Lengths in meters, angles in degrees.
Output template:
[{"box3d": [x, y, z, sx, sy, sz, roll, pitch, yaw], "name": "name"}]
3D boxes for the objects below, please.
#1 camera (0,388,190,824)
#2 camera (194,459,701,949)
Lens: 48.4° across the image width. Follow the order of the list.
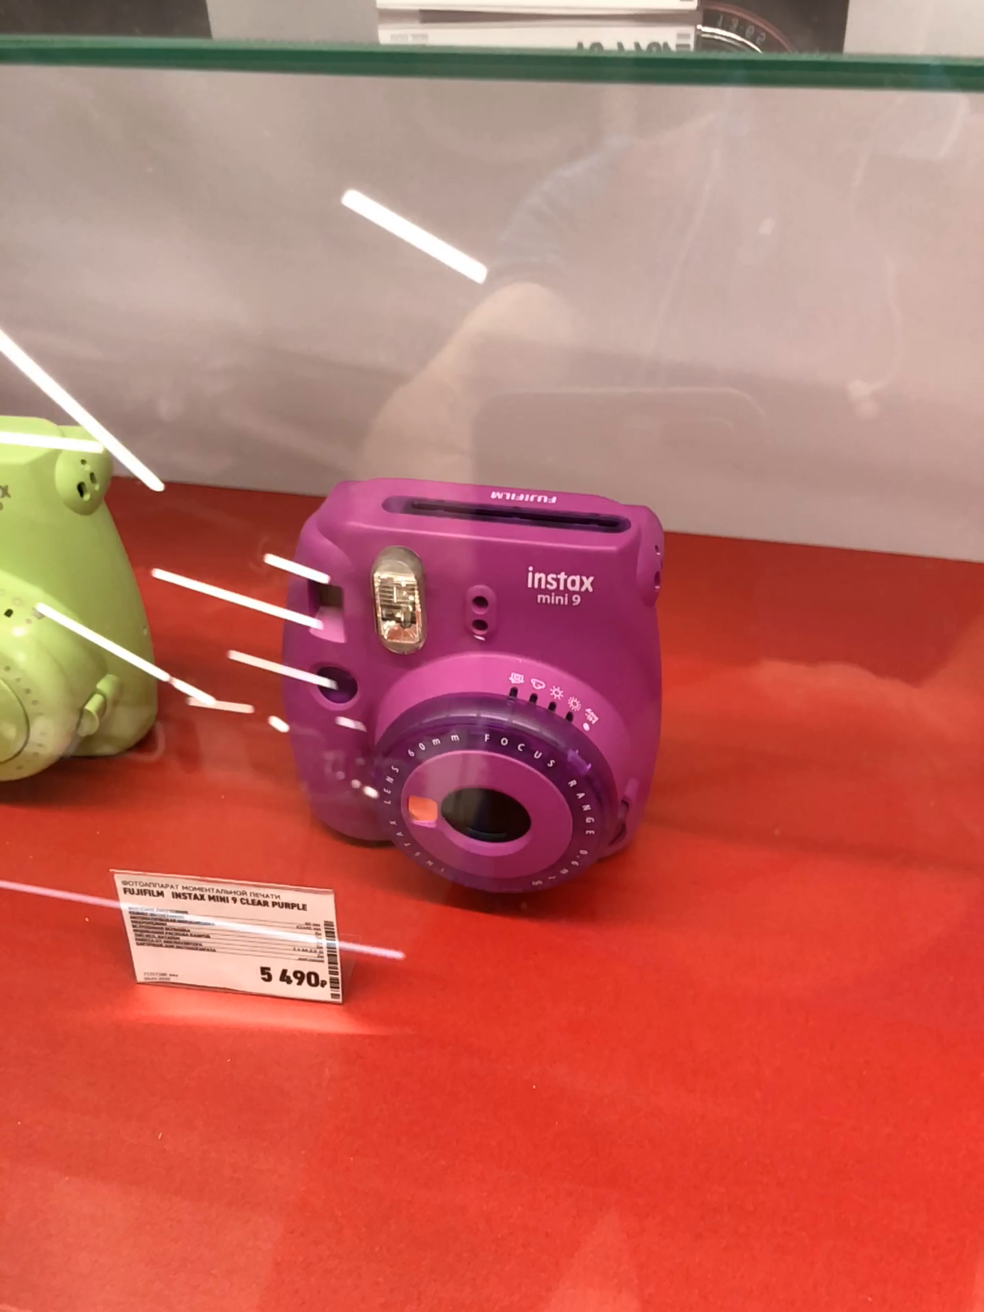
[{"box3d": [-0.190, -0.017, 0.371, 0.135, 0.118, 0.073, 4, 37, 6], "name": "camera"}, {"box3d": [-0.007, 0.012, 0.315, 0.117, 0.103, 0.073, 7, 38, 10], "name": "camera"}]
